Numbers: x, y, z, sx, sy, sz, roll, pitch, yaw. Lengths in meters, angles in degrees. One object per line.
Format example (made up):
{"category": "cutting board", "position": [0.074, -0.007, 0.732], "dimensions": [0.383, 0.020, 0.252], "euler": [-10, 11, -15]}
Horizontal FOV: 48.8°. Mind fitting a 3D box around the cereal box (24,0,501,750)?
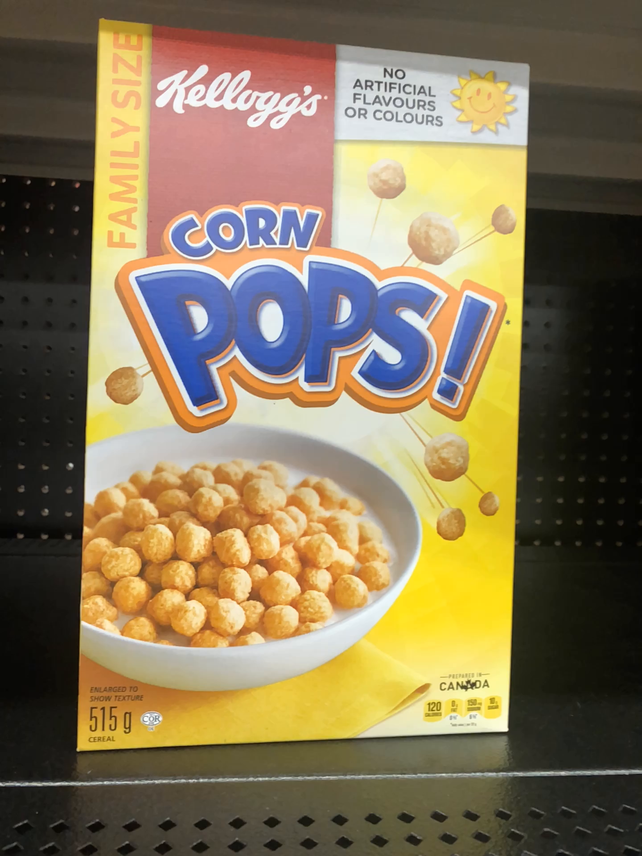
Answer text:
{"category": "cereal box", "position": [-0.027, -0.025, 0.355], "dimensions": [0.200, 0.320, 0.090], "euler": [2, -1, -10]}
